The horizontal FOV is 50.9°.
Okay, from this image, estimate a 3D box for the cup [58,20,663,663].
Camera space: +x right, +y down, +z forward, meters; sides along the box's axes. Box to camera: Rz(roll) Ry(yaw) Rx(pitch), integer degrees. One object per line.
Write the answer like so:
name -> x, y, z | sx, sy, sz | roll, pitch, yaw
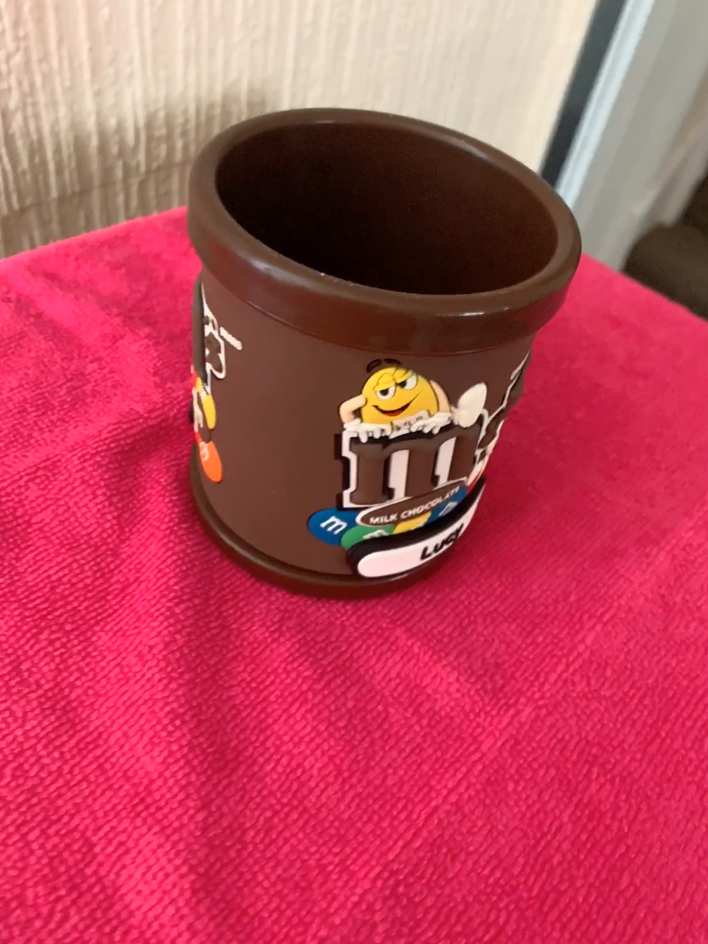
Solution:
cup -> 0.006, -0.041, 0.201 | 0.090, 0.099, 0.121 | 27, 48, 13
